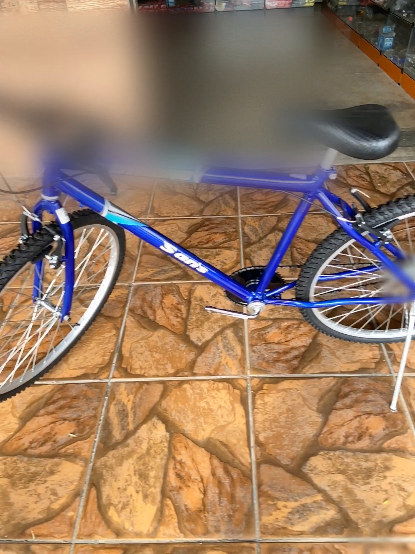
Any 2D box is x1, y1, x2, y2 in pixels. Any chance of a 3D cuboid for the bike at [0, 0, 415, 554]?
[{"bbox_3d":[0.110,0.070,0.953,1.525,1.013,0.575,-13,41,-5],"label":"bike"}]
